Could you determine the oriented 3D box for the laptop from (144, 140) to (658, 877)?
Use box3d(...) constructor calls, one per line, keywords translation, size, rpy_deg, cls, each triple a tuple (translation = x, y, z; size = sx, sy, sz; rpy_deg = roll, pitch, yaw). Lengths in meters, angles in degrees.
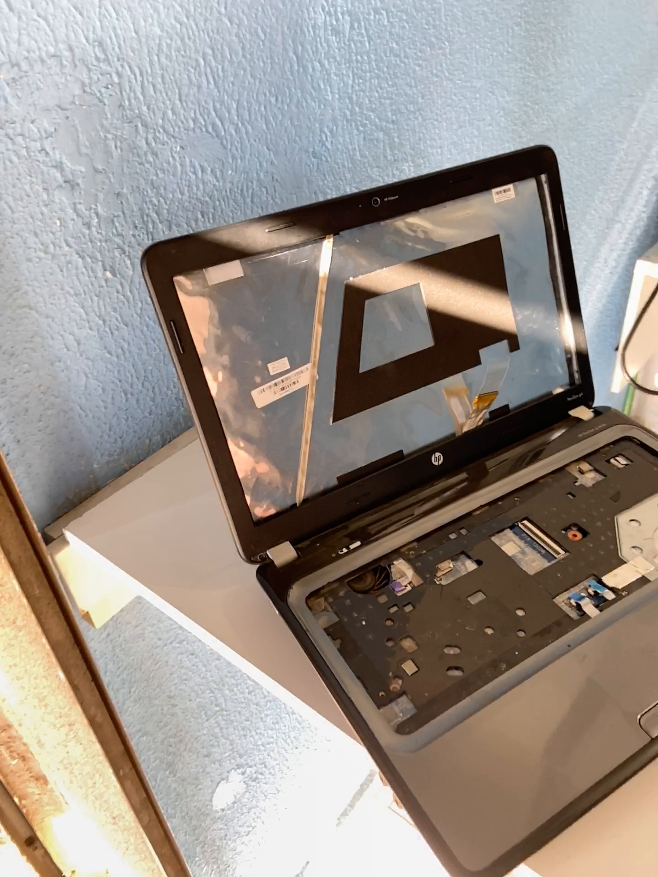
box3d(translation=(0.117, -0.019, 0.423), size=(0.335, 0.194, 0.324), rpy_deg=(-22, 40, -21), cls="laptop")
